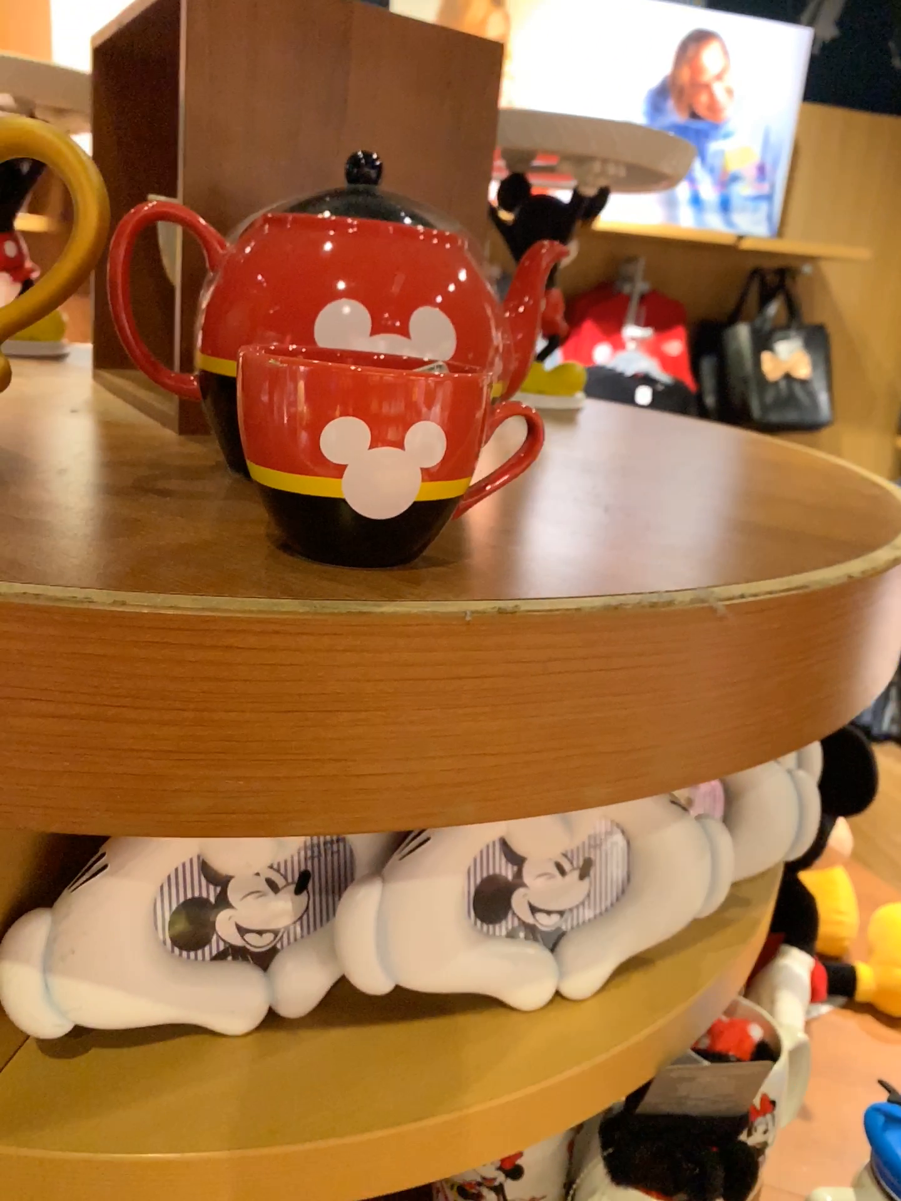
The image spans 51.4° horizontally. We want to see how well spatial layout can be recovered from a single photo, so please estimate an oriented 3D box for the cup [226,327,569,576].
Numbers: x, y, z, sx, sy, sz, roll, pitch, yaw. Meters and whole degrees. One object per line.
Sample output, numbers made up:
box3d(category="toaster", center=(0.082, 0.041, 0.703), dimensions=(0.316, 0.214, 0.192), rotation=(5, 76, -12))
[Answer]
box3d(category="cup", center=(-0.023, -0.053, 0.321), dimensions=(0.100, 0.066, 0.078), rotation=(2, 18, -11))
